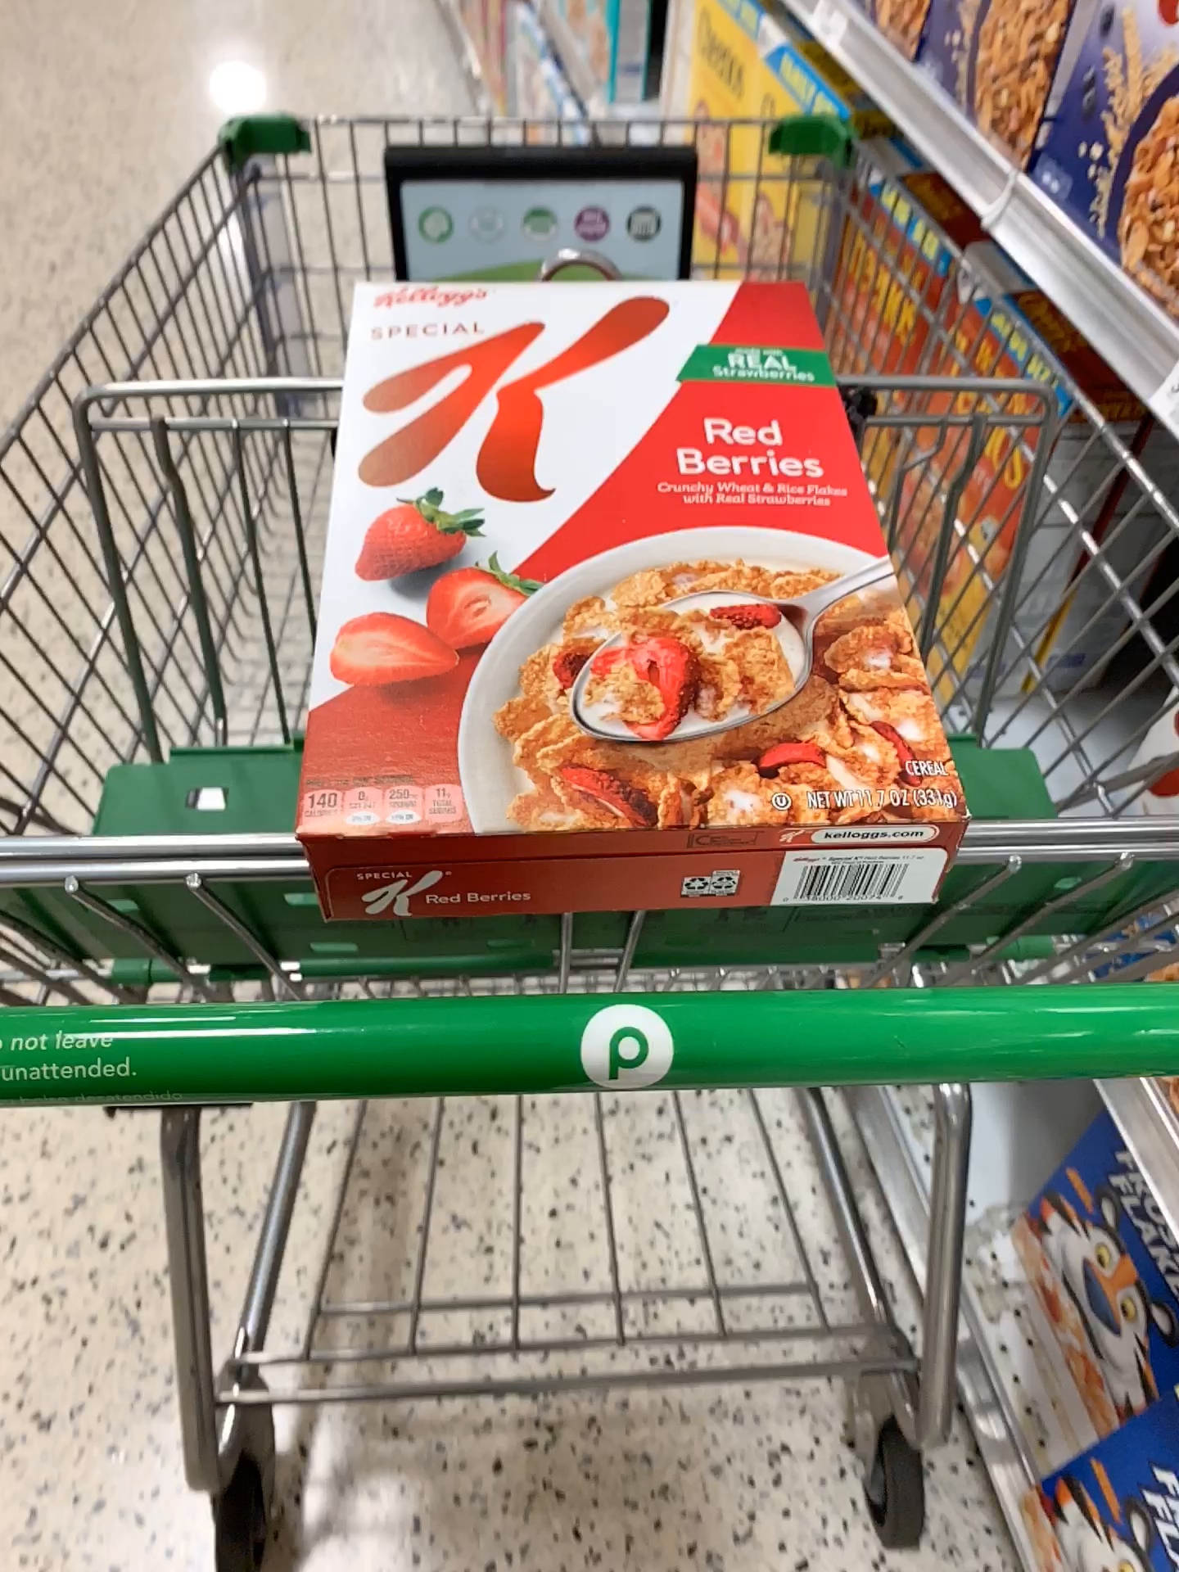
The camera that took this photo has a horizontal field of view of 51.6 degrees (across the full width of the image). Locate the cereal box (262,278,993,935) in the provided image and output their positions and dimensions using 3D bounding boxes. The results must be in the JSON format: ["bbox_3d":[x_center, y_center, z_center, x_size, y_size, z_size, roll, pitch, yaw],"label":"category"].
[{"bbox_3d":[0.003,-0.084,0.438,0.200,0.049,0.283,-1,52,-4],"label":"cereal box"}]
